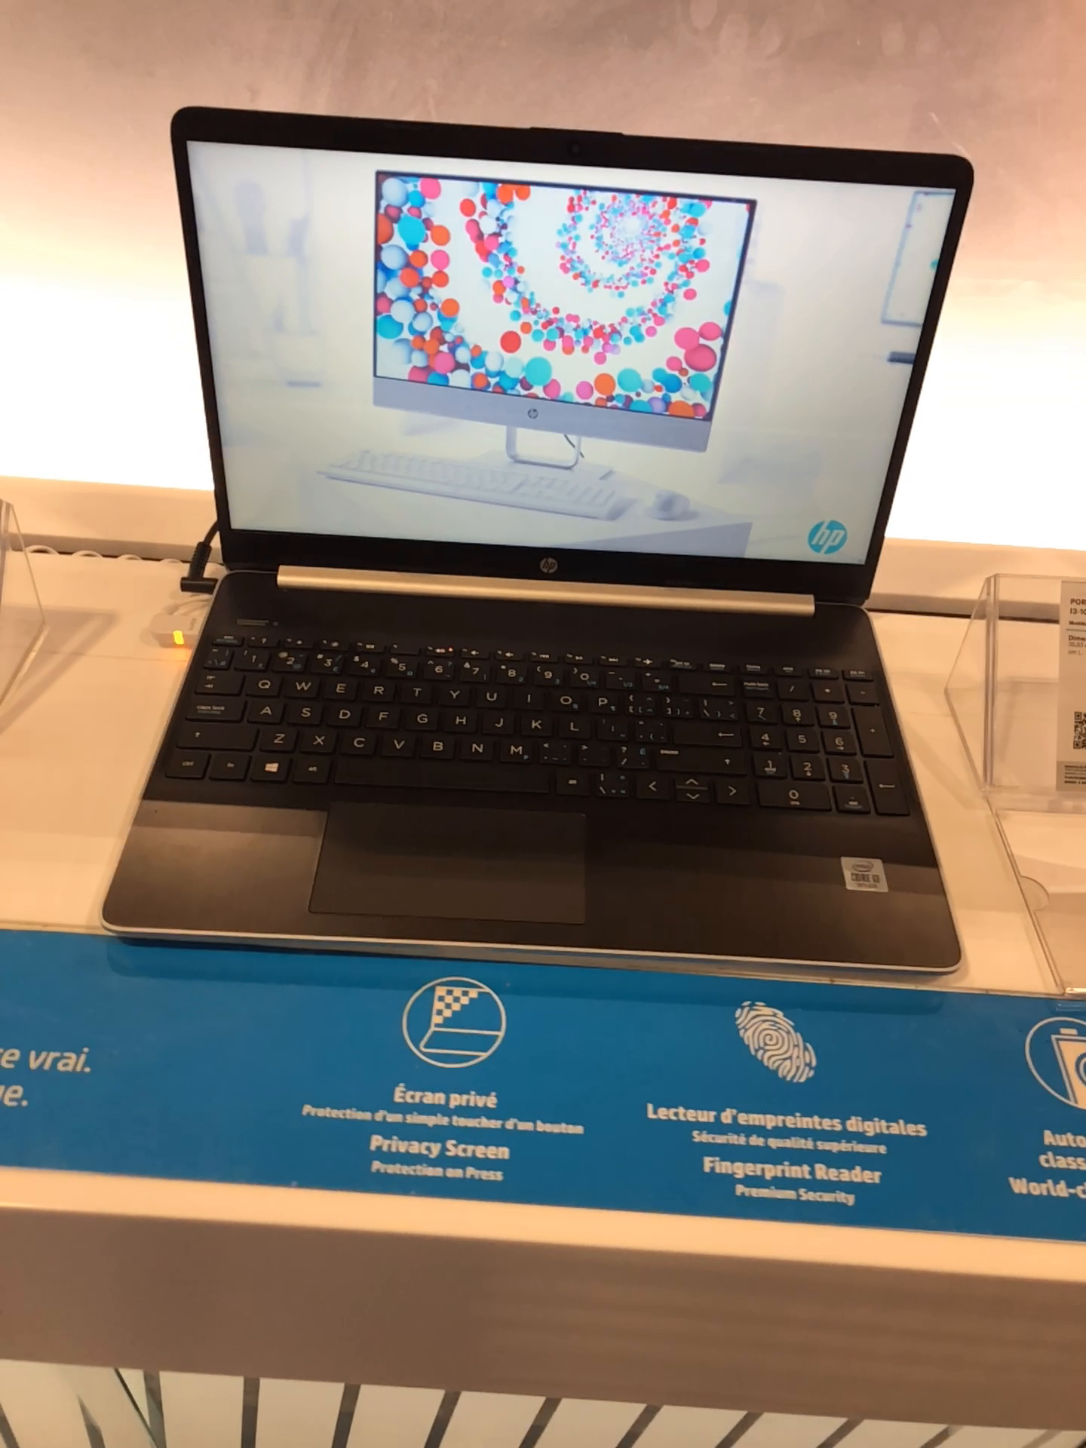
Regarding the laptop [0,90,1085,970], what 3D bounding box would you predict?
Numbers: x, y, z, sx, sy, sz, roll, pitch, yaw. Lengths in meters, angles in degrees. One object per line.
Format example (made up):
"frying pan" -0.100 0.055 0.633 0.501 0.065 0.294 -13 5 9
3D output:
"laptop" 0.004 -0.091 0.507 0.355 0.221 0.284 3 44 0
